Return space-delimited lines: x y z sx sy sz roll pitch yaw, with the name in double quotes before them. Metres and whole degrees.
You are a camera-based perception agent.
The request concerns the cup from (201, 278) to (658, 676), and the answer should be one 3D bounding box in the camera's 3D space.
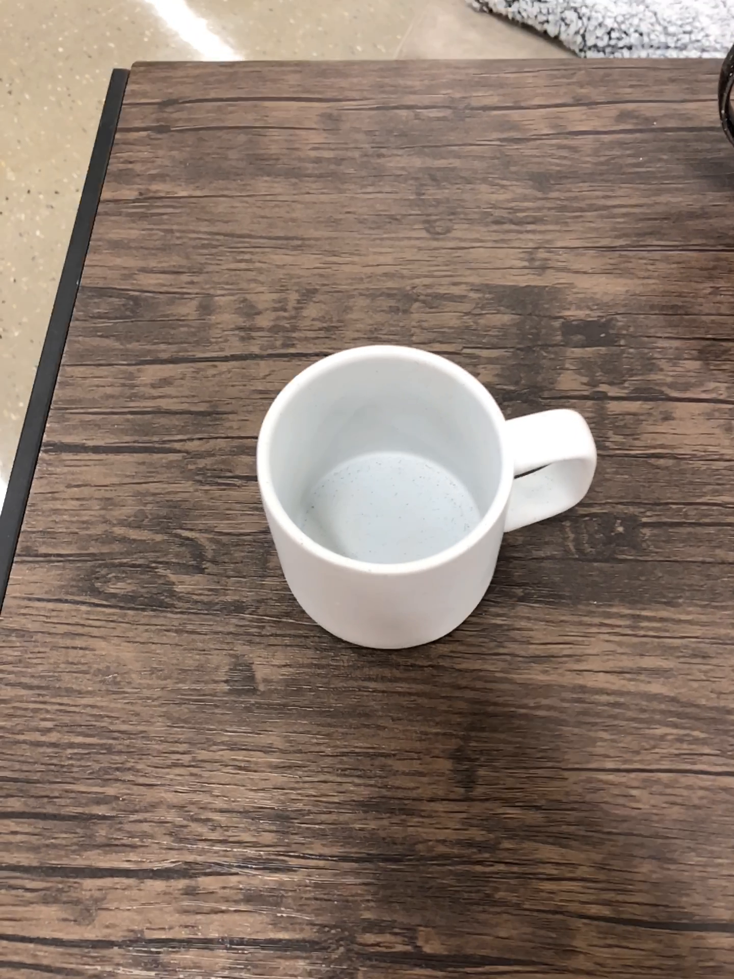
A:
"cup" 0.019 0.001 0.313 0.130 0.100 0.090 -14 65 -4
